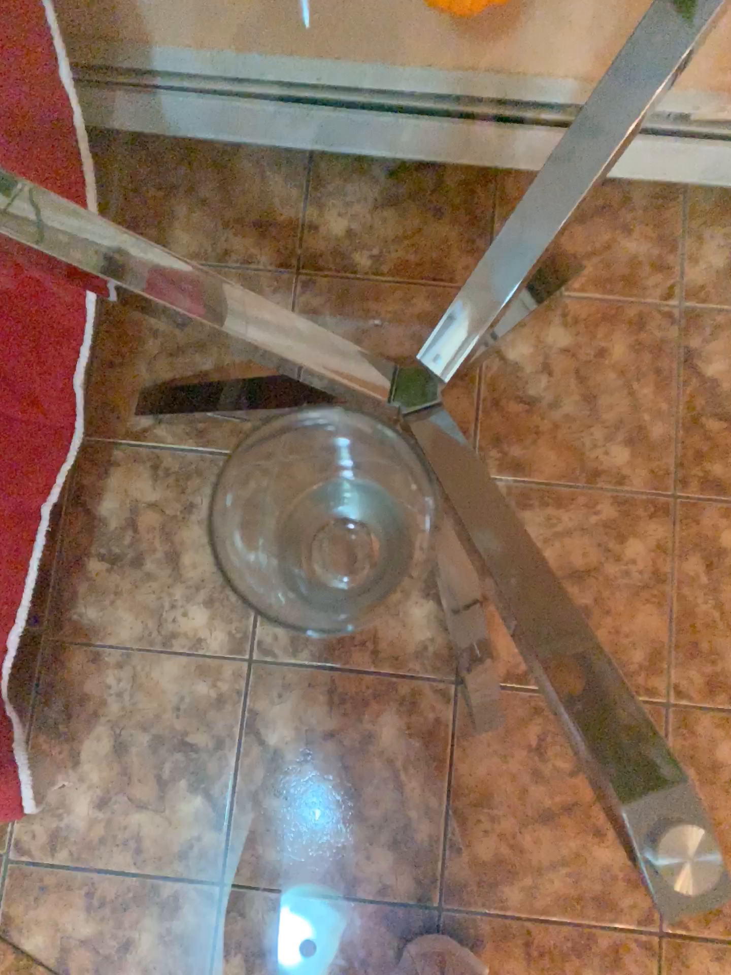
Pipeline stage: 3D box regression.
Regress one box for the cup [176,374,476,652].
[{"bbox_3d":[-0.012,0.026,0.377,0.100,0.212,0.093,0,80,1],"label":"cup"}]
